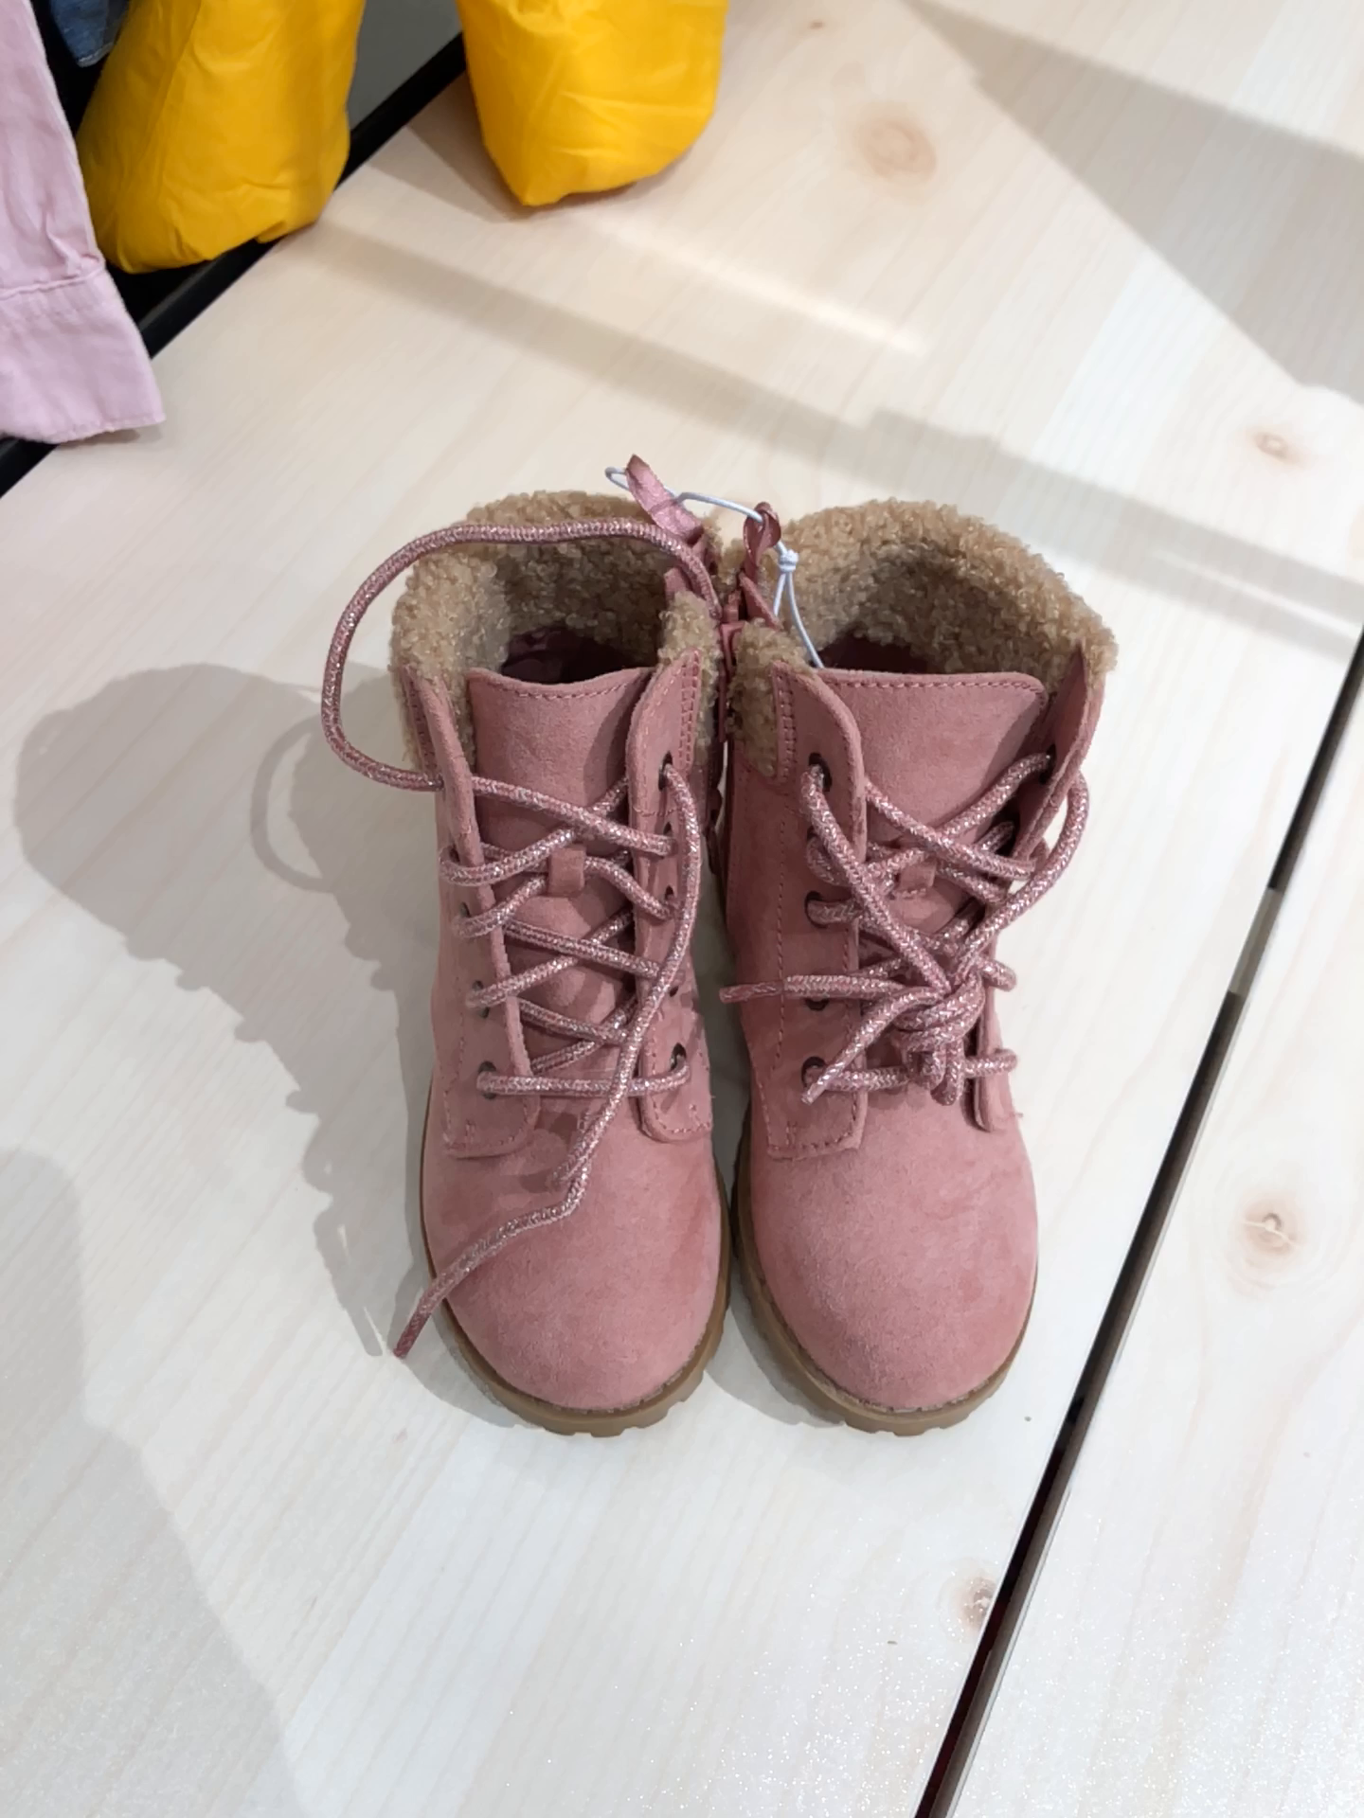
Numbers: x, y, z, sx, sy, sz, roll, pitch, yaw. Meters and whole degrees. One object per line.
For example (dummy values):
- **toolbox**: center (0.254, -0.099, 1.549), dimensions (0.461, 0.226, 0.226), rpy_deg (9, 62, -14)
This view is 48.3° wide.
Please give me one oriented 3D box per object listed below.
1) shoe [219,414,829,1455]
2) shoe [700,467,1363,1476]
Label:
- **shoe**: center (-0.026, 0.008, 0.293), dimensions (0.080, 0.120, 0.160), rpy_deg (-1, 59, -3)
- **shoe**: center (0.051, 0.015, 0.301), dimensions (0.080, 0.120, 0.160), rpy_deg (-1, 59, -3)
